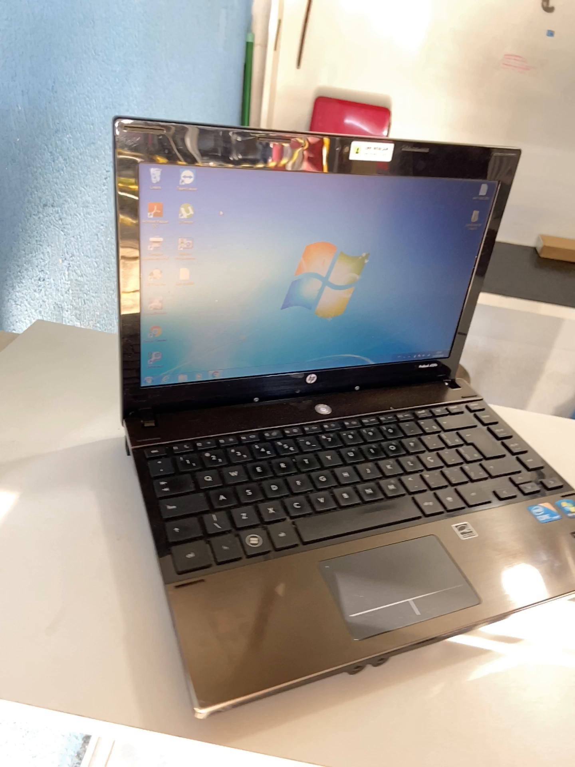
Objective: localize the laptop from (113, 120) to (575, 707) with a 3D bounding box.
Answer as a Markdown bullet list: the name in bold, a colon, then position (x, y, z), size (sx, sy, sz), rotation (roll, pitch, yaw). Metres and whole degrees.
- **laptop**: position (0.072, -0.020, 0.390), size (0.322, 0.207, 0.260), rotation (-6, 36, -21)
